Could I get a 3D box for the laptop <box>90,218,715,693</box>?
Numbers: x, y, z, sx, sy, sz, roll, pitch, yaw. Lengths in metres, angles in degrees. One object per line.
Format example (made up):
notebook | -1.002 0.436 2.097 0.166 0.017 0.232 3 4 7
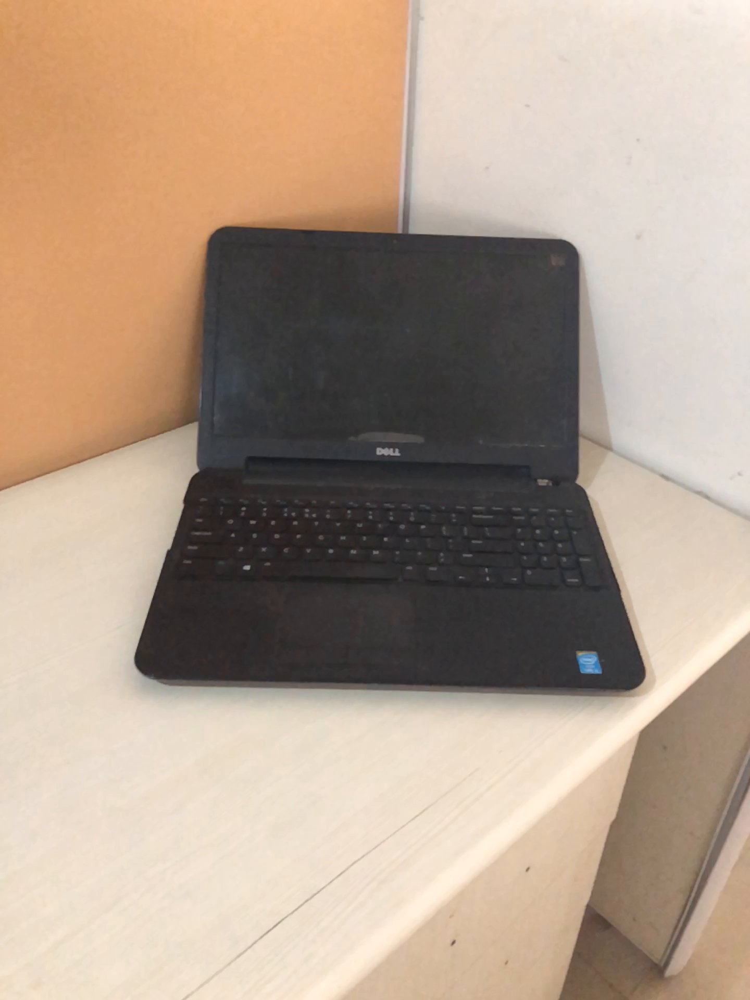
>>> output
laptop | 0.014 -0.071 0.679 0.352 0.175 0.415 2 36 0
